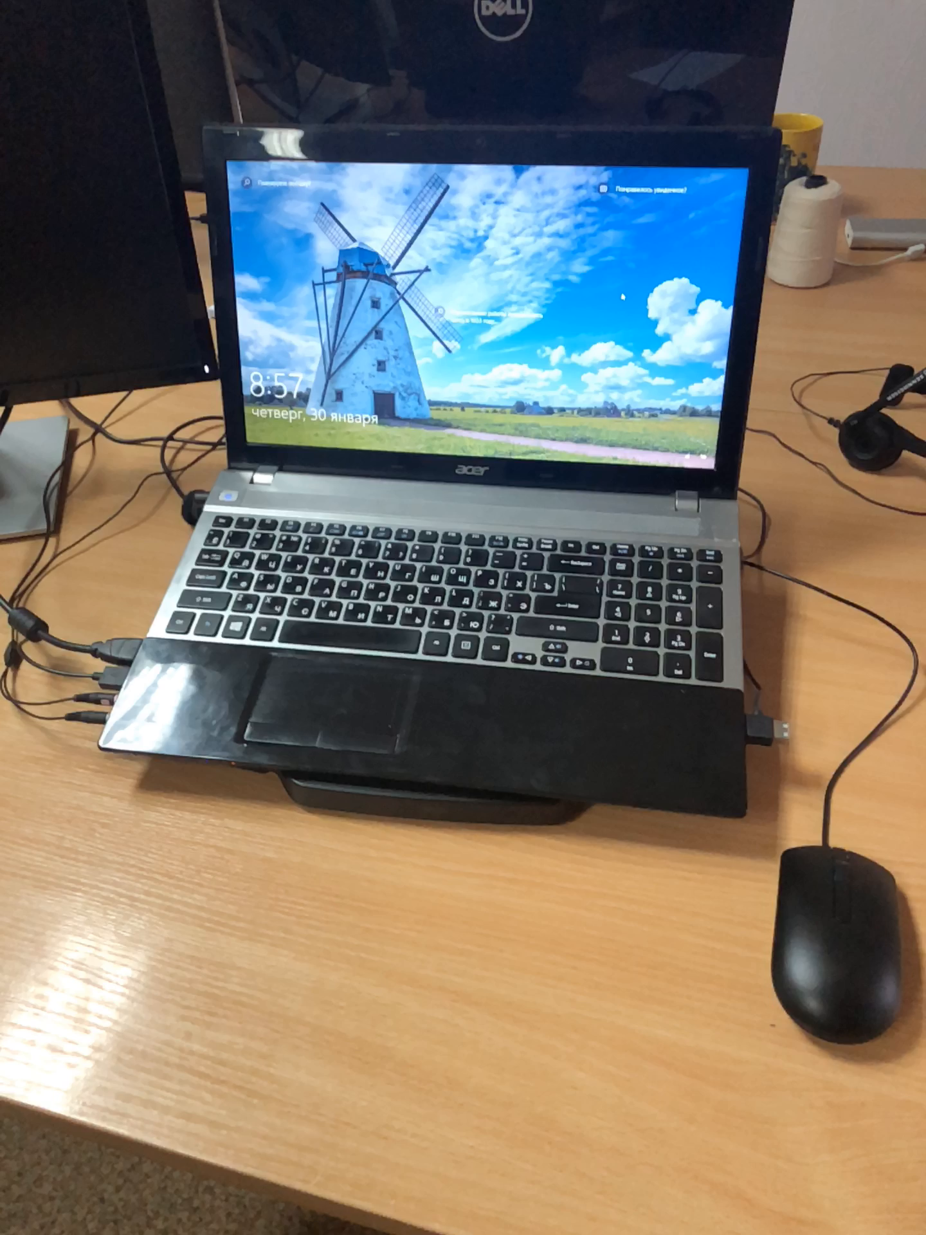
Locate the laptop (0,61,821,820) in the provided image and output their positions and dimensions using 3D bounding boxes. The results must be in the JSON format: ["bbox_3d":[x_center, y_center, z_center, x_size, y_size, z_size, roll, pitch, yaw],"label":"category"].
[{"bbox_3d":[-0.010,-0.131,0.616,0.373,0.211,0.361,5,50,8],"label":"laptop"}]
